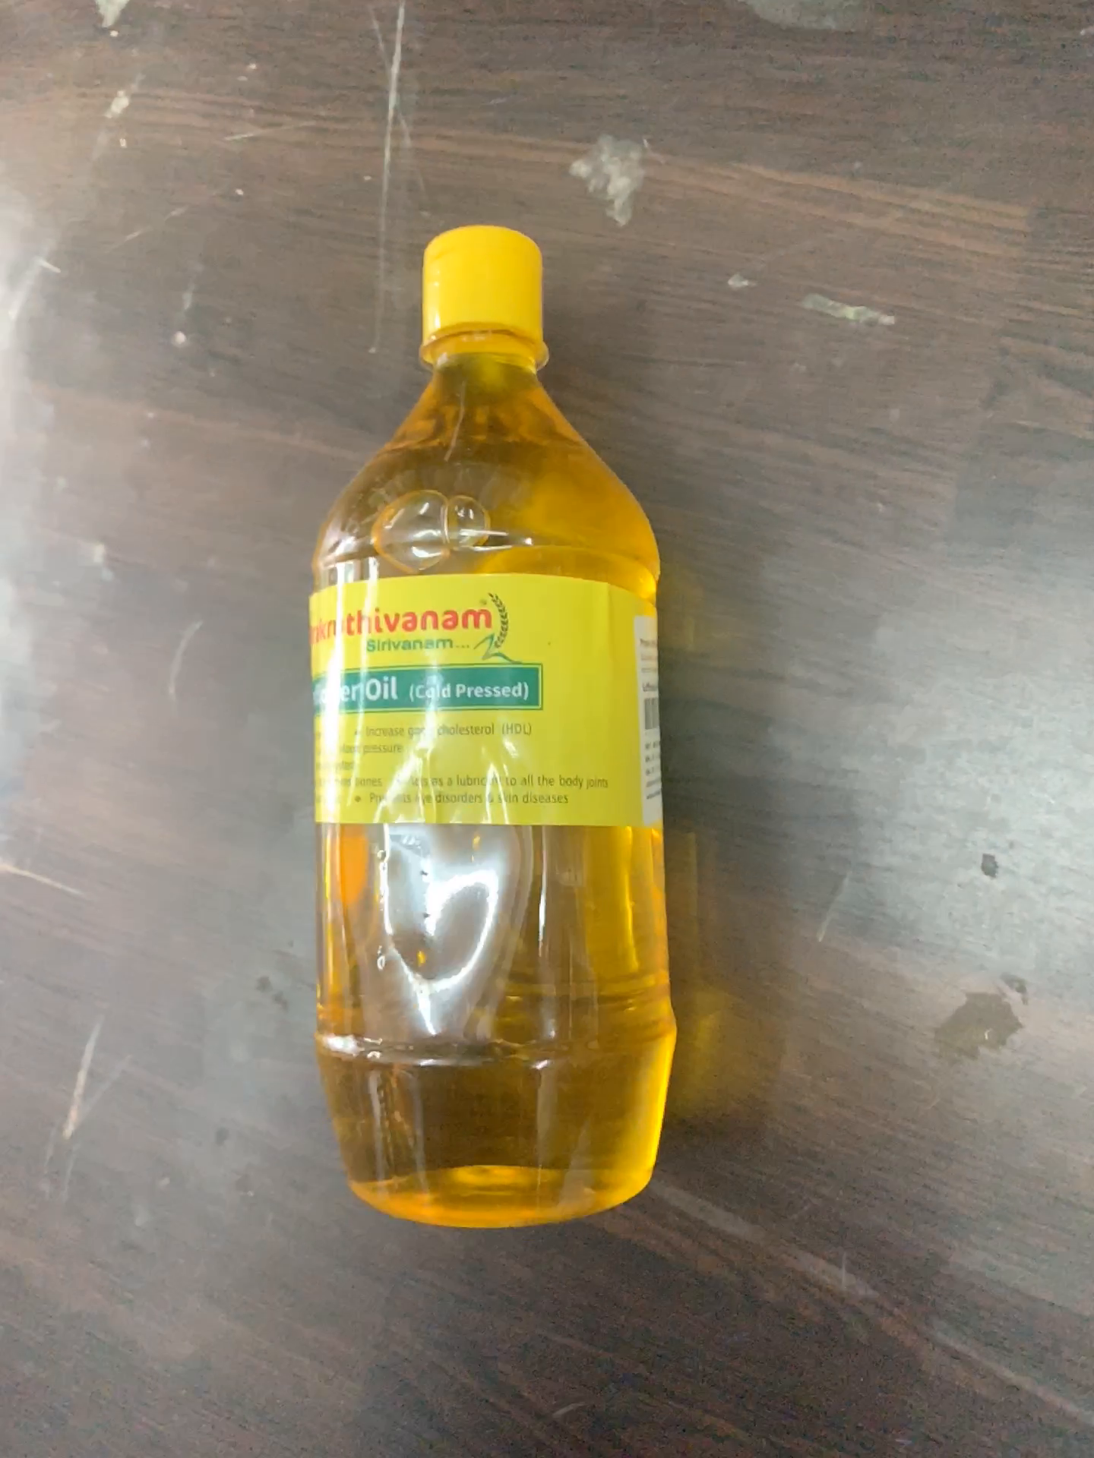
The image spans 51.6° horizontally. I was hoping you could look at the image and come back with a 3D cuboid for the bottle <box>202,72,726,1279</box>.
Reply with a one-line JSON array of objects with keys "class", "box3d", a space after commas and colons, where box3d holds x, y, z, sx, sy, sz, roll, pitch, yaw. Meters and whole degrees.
[{"class": "bottle", "box3d": [-0.020, -0.010, 0.273, 0.090, 0.080, 0.230, -4, 86, 34]}]
